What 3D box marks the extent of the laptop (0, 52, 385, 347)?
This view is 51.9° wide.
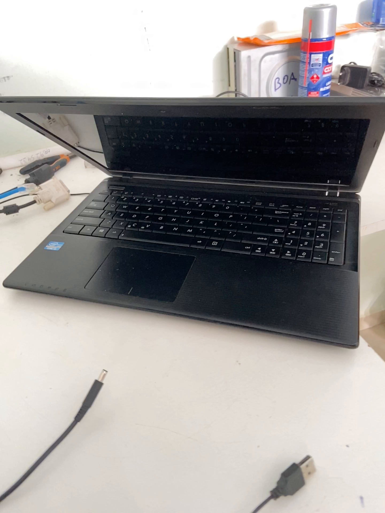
[{"bbox_3d":[-0.009,-0.091,0.434,0.376,0.166,0.248,7,41,19],"label":"laptop"}]
